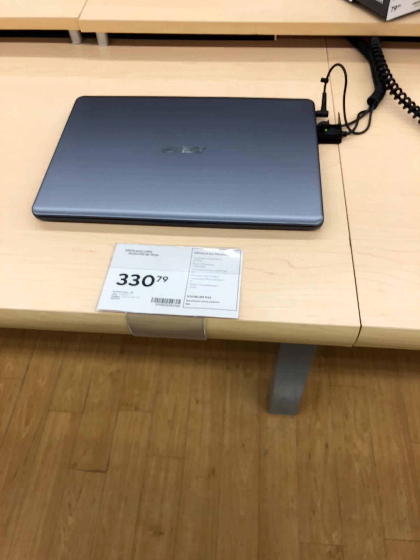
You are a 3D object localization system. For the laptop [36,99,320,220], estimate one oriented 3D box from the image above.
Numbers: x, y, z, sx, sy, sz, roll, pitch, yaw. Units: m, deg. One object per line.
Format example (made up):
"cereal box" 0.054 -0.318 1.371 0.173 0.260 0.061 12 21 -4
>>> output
"laptop" -0.032 -0.159 0.578 0.318 0.001 0.211 2 55 4
